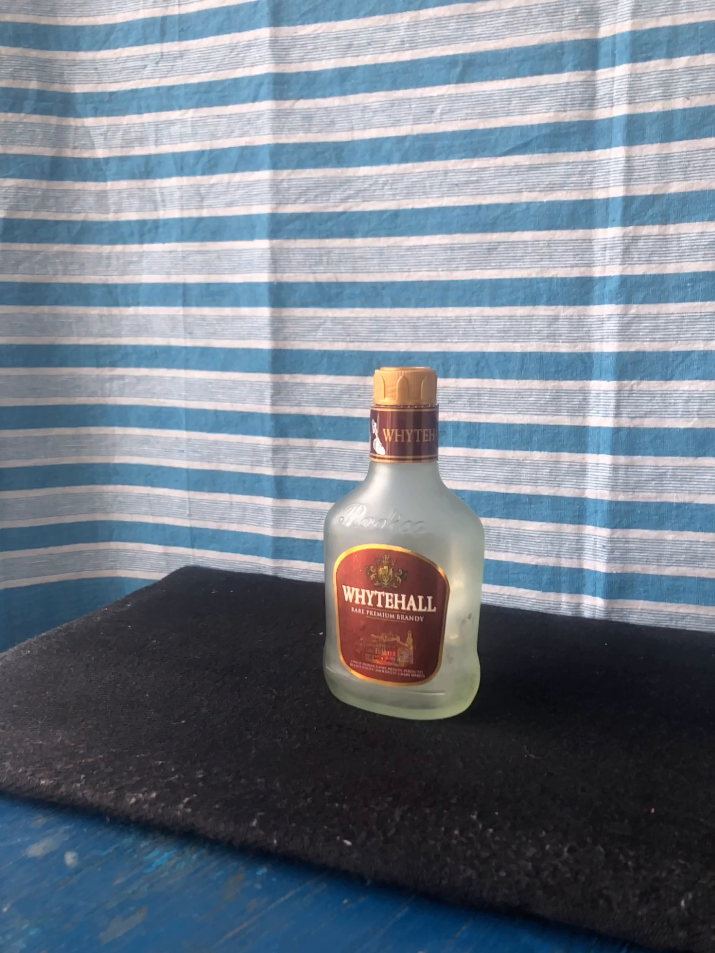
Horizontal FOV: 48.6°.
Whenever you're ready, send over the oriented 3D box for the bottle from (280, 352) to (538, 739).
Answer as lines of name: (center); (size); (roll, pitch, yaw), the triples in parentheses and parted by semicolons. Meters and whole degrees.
bottle: (0.020, 0.020, 0.309); (0.080, 0.130, 0.060); (6, 12, 23)
